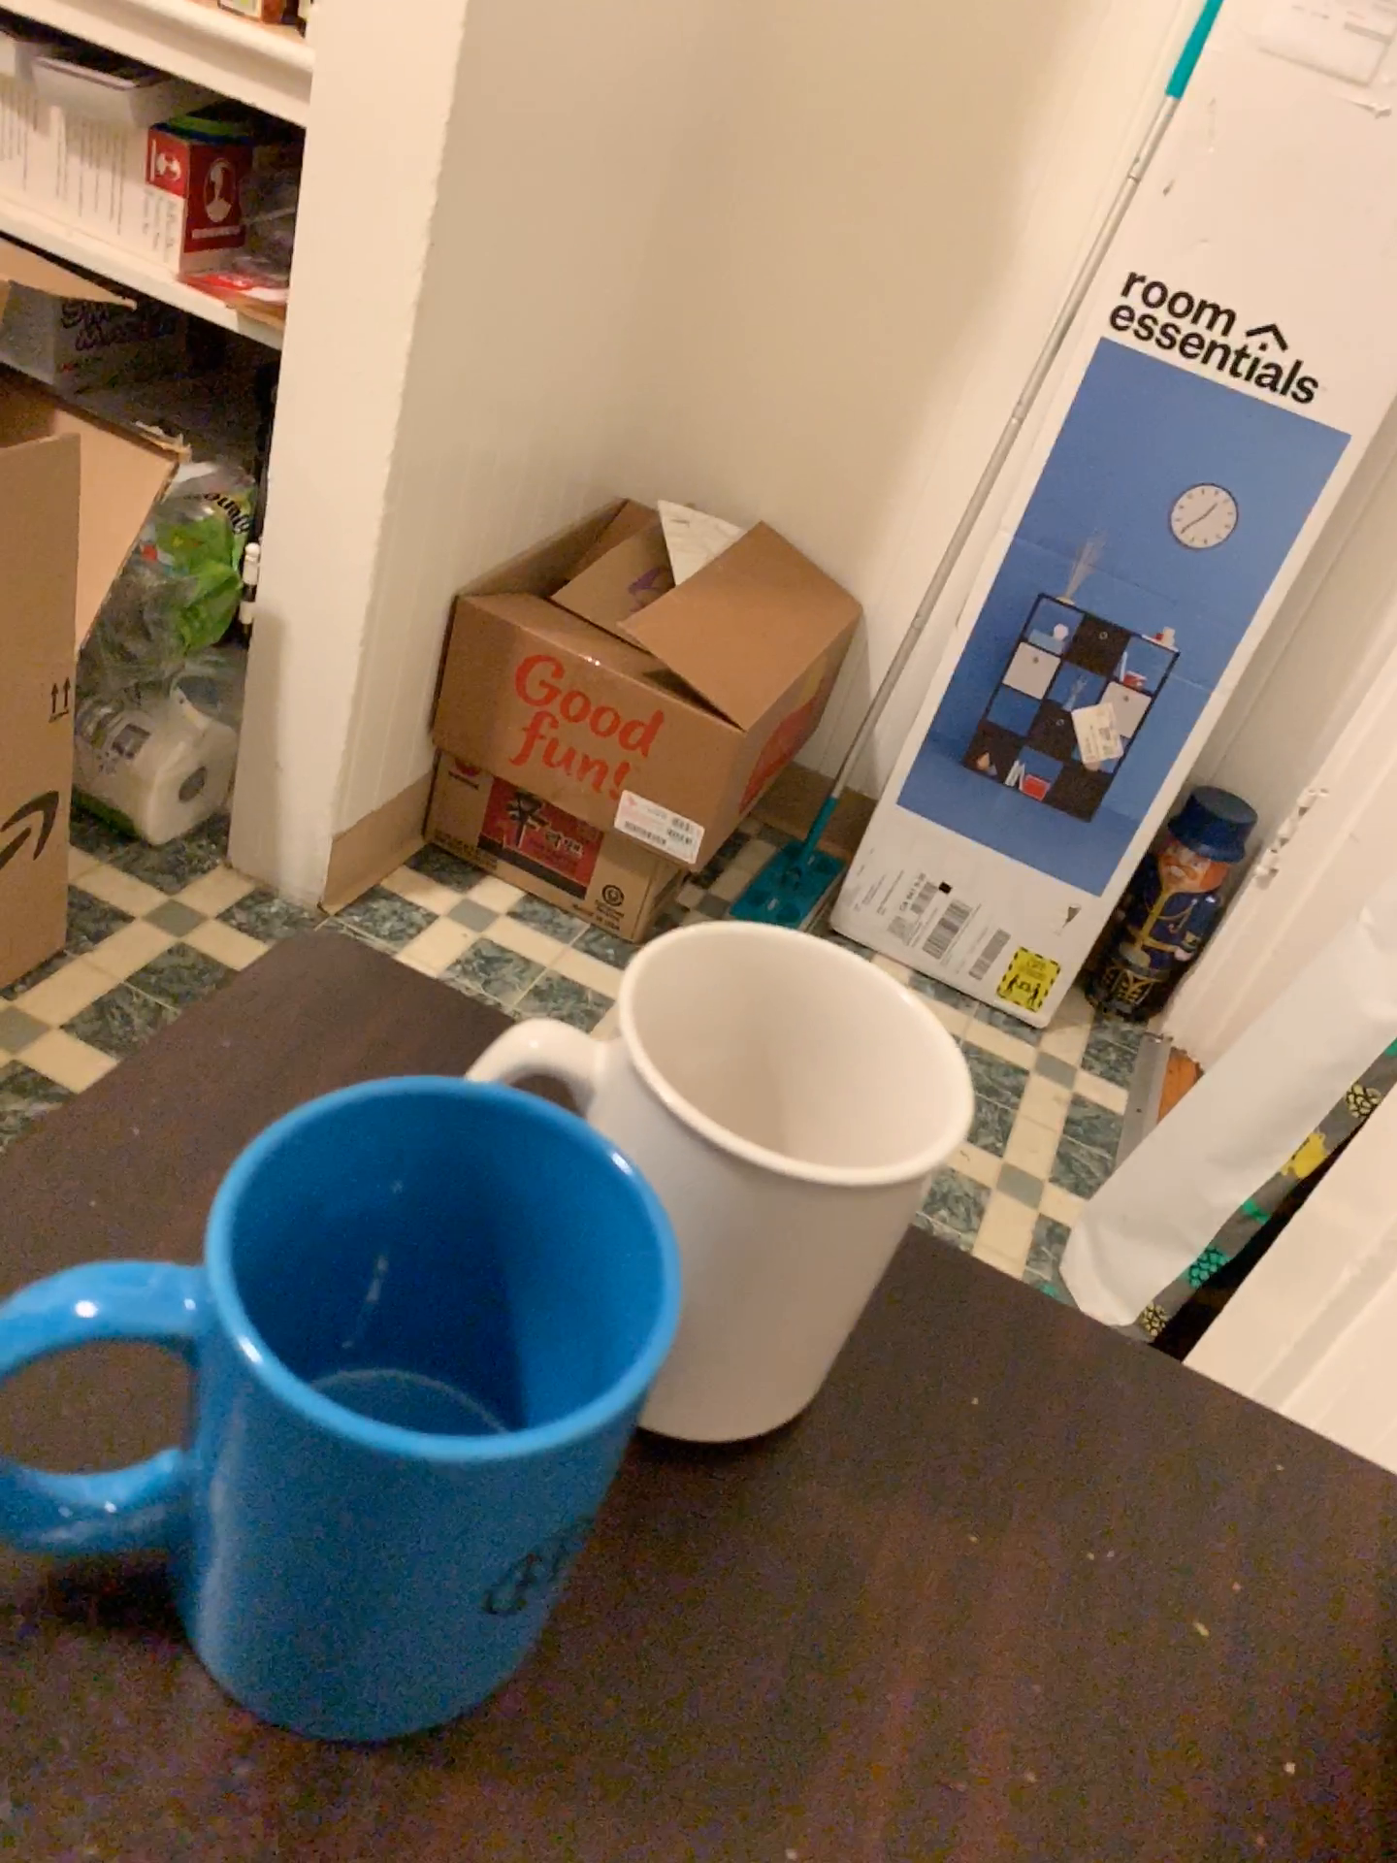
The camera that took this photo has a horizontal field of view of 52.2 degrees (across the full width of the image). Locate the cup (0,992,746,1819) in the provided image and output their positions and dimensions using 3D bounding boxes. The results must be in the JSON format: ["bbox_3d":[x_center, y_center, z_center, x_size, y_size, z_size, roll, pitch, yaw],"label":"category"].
[{"bbox_3d":[-0.080,0.085,0.259,0.140,0.099,0.090,7,37,-18],"label":"cup"}]

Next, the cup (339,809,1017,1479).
[{"bbox_3d":[-0.006,0.048,0.330,0.120,0.090,0.091,15,35,-6],"label":"cup"}]
